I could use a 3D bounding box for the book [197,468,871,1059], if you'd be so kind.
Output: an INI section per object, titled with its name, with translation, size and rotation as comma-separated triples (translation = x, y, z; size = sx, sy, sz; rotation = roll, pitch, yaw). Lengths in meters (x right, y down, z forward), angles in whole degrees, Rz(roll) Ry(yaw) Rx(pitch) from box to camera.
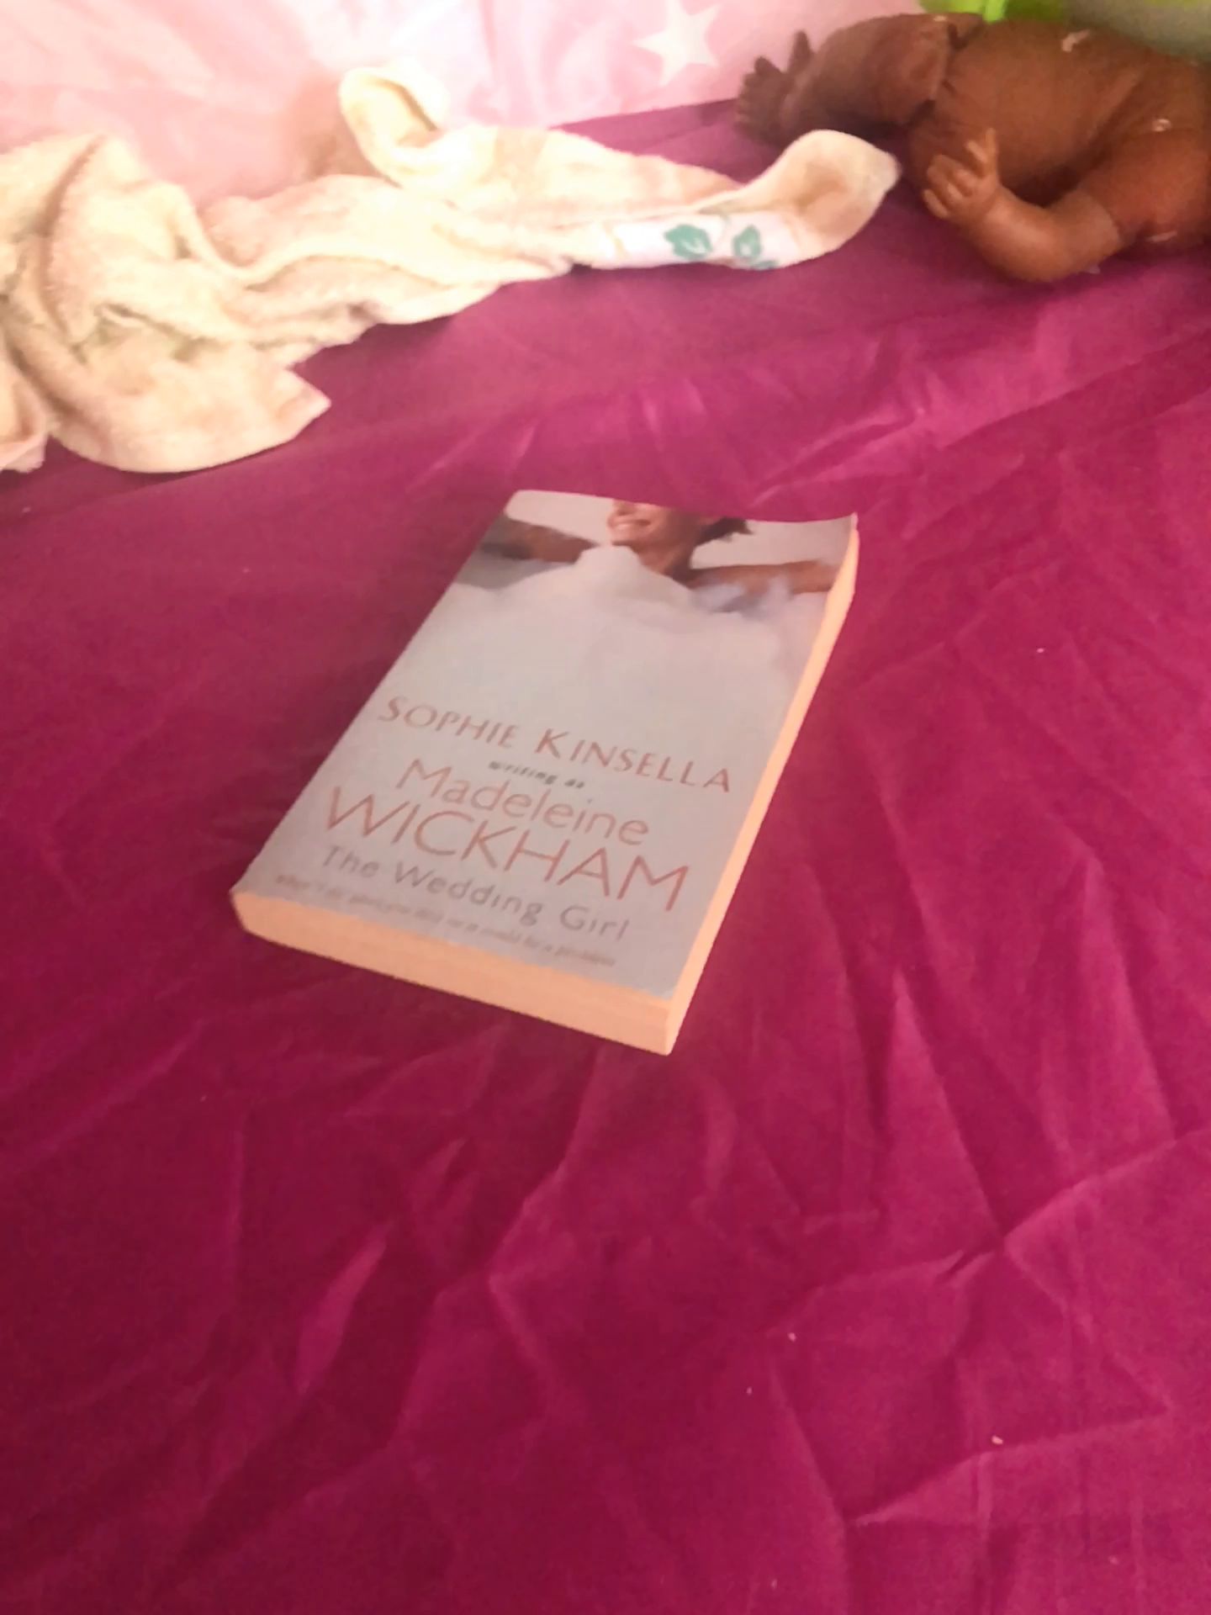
[book]
translation = -0.010, -0.030, 0.414
size = 0.135, 0.027, 0.203
rotation = 13, 49, 17
